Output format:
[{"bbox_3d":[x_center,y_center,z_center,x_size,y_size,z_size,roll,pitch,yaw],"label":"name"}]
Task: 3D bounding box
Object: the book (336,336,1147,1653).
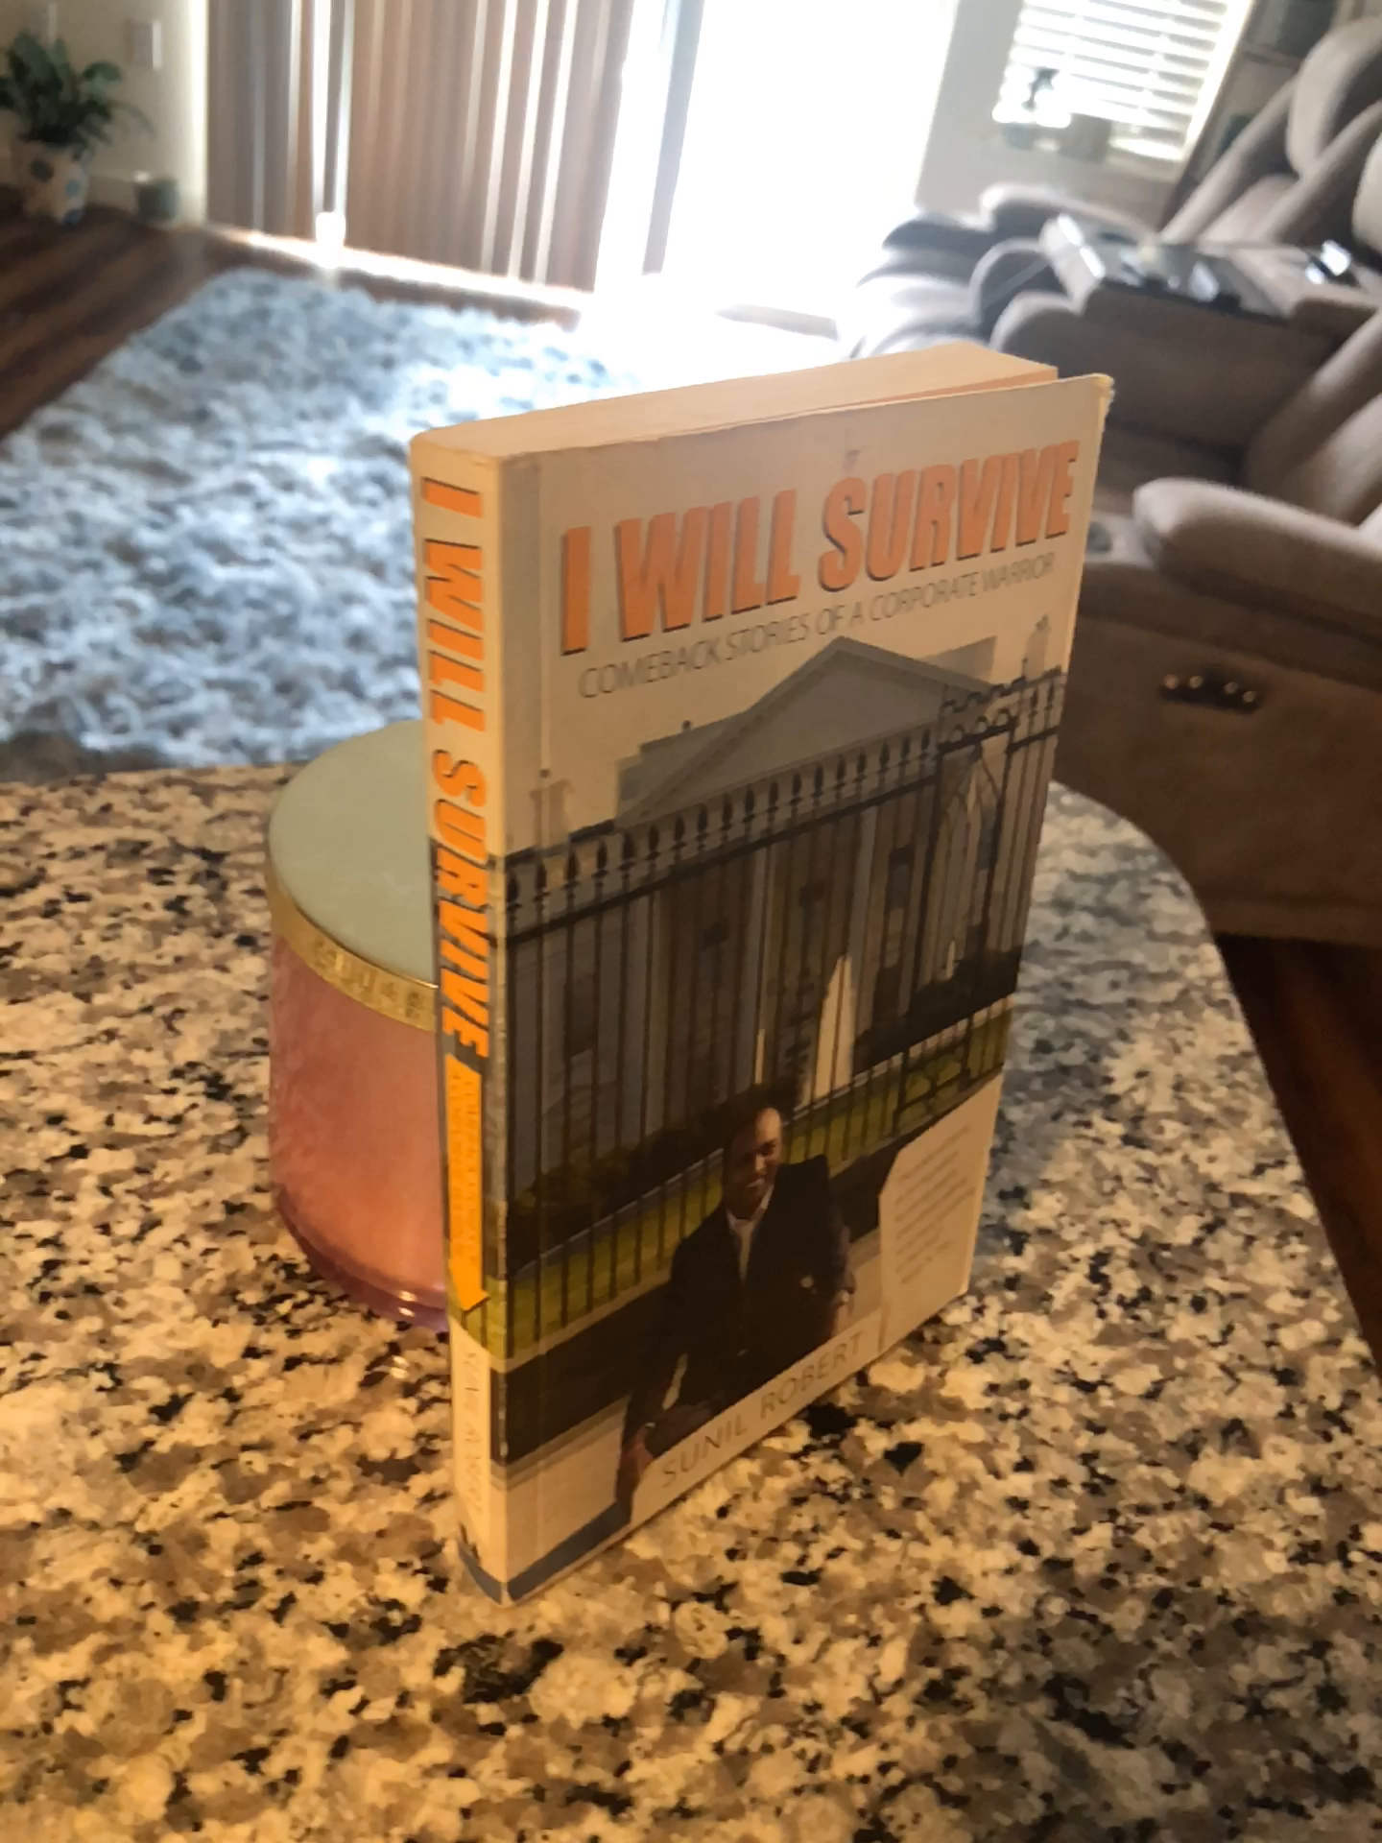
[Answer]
[{"bbox_3d":[0.012,0.008,0.262,0.032,0.191,0.135,26,35,37],"label":"book"}]
